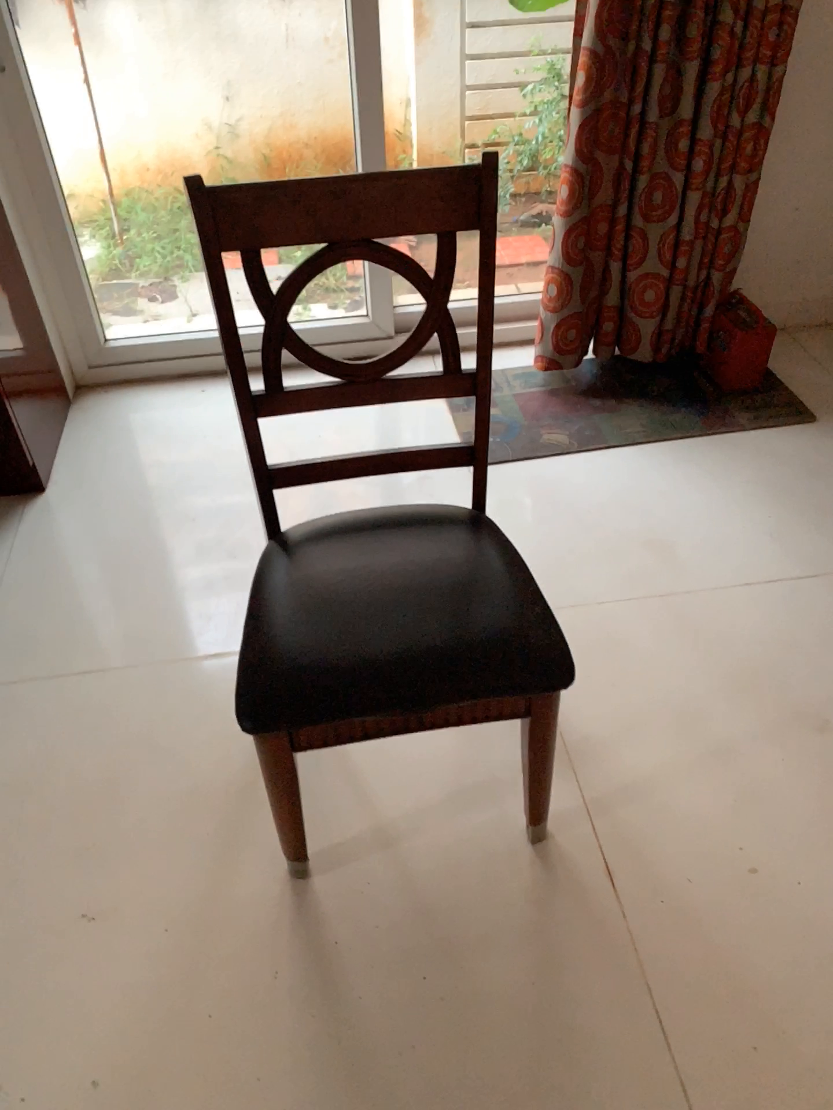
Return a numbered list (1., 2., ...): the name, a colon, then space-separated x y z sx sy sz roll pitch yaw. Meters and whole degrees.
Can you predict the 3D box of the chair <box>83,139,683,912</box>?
1. chair: -0.052 -0.007 1.383 0.570 1.025 0.643 -7 43 -5
